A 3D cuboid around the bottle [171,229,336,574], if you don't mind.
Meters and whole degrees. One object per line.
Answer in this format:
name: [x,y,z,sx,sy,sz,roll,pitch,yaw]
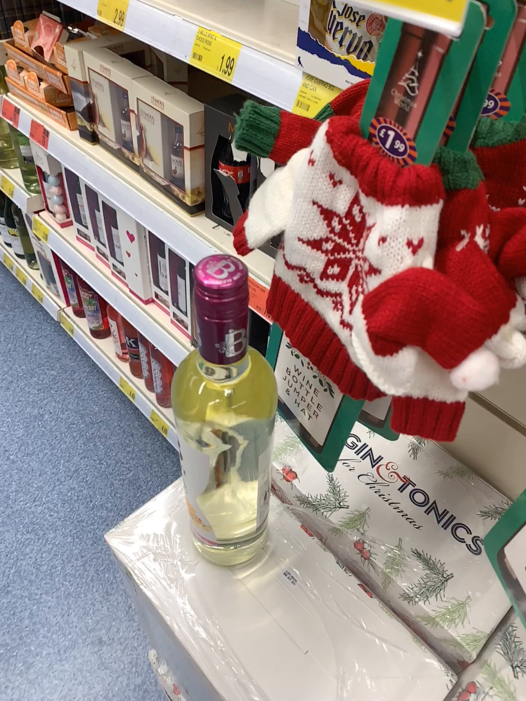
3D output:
bottle: [-0.018,0.059,0.390,0.080,0.288,0.082,3,45,-3]
